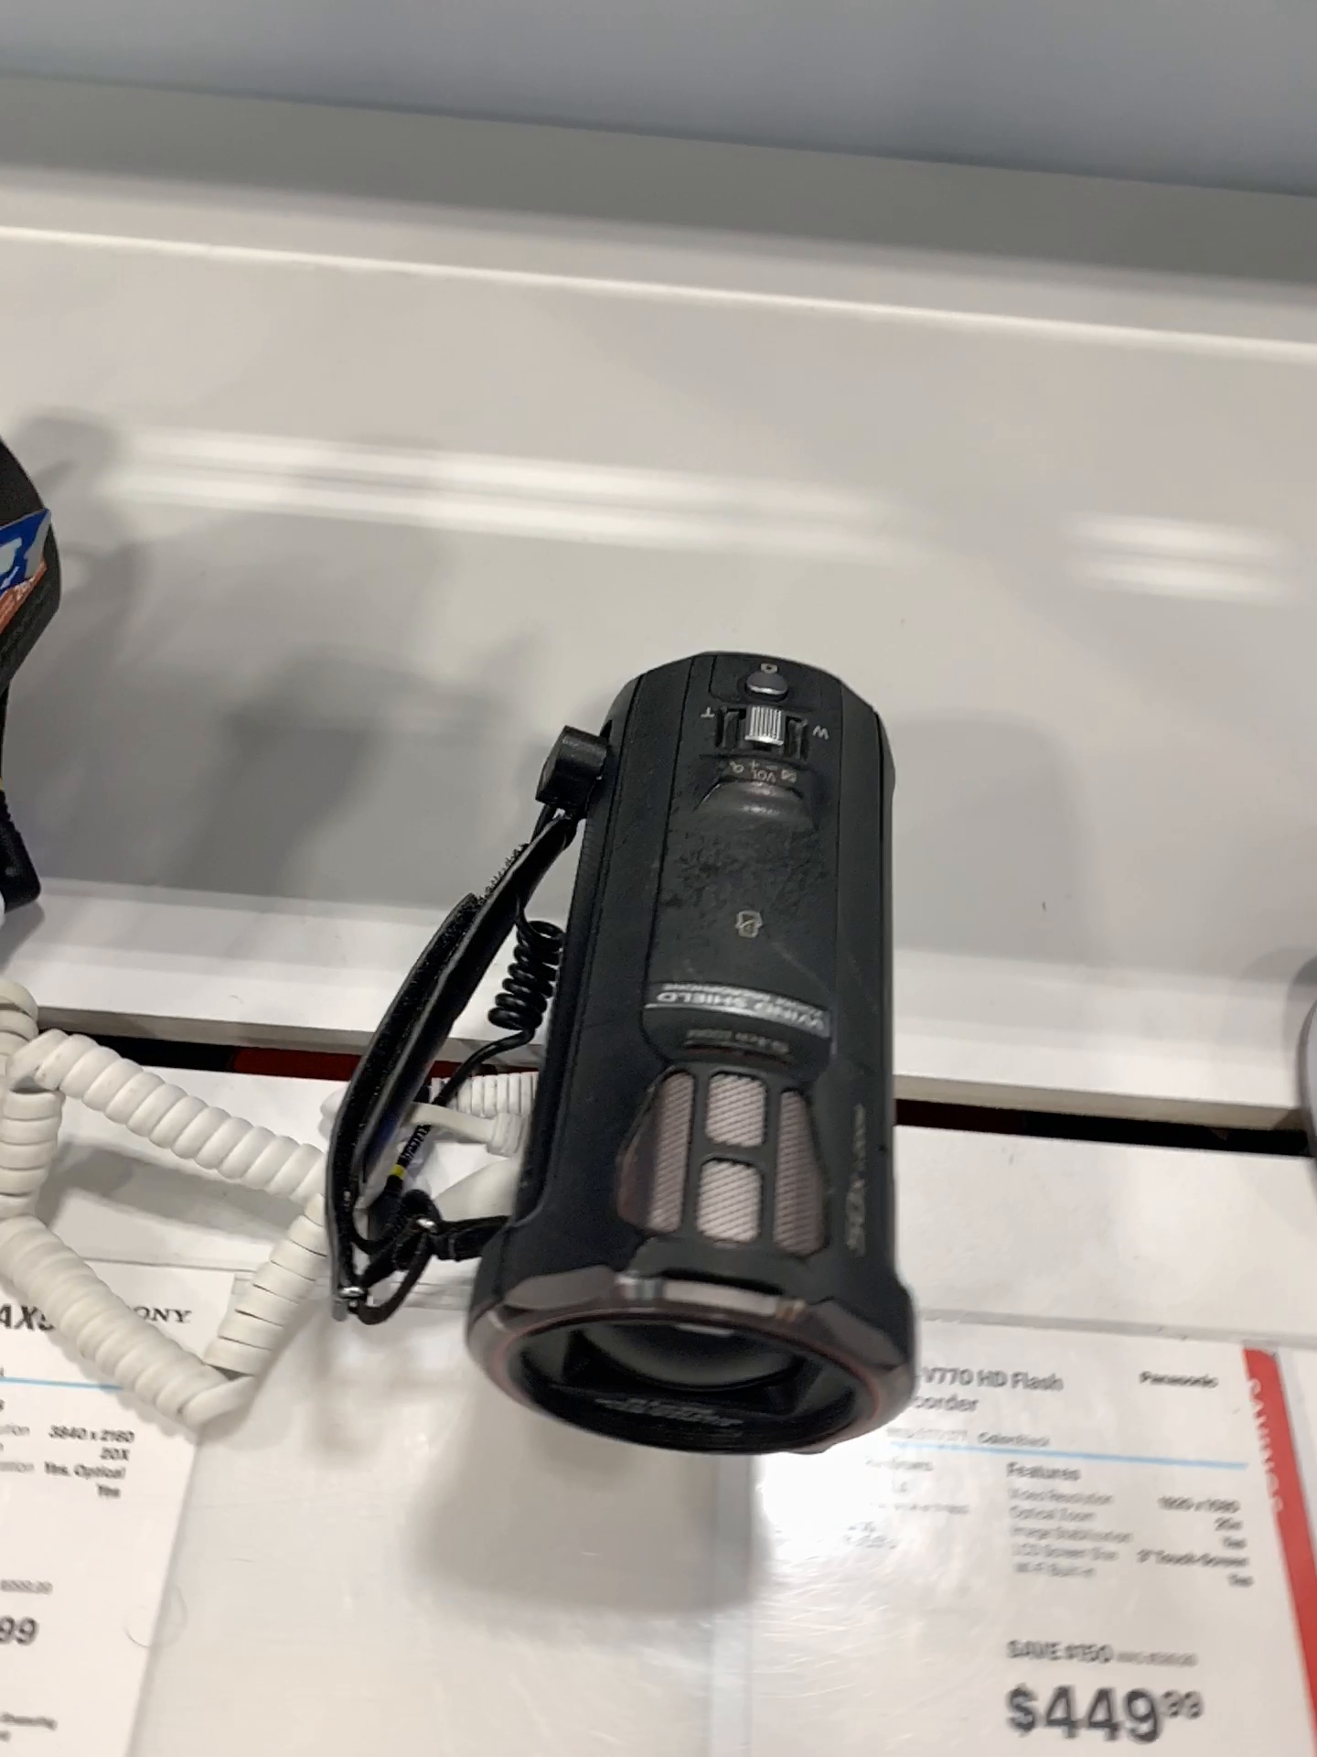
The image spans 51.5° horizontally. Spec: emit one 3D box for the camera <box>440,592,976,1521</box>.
[{"bbox_3d":[0.008,0.023,0.231,0.065,0.061,0.139,6,50,-1],"label":"camera"}]

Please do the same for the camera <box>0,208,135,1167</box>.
[{"bbox_3d":[-0.171,-0.044,0.255,0.071,0.073,0.167,9,52,1],"label":"camera"}]
